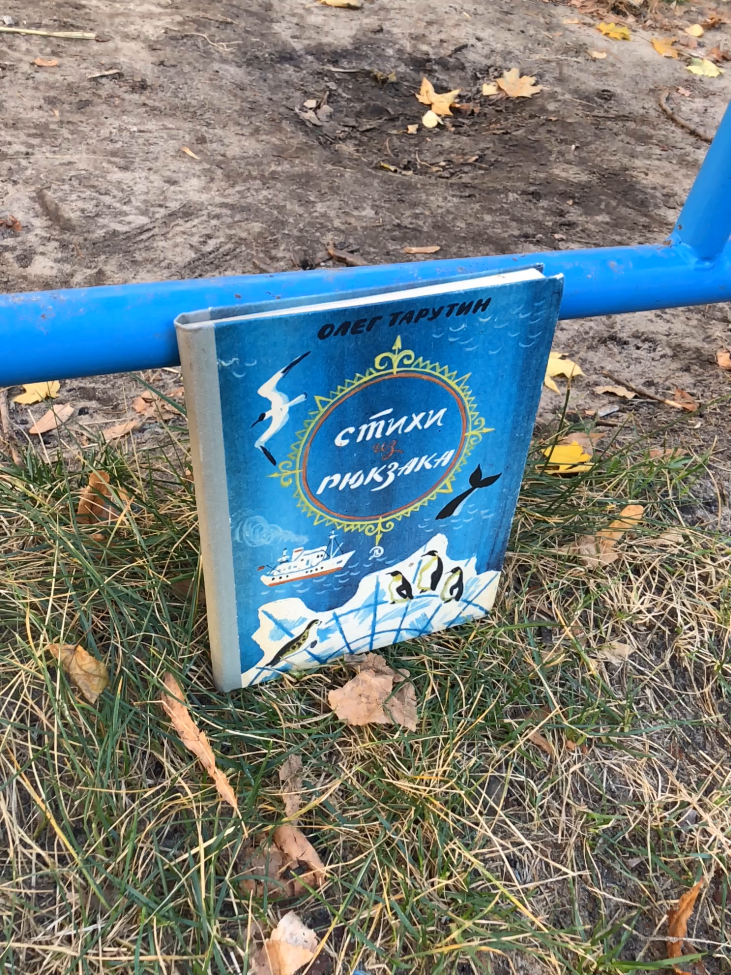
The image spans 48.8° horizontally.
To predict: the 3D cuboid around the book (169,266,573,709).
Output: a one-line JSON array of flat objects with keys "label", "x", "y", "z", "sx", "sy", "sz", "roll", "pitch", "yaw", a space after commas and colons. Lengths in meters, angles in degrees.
[{"label": "book", "x": 0.001, "y": 0.004, "z": 0.398, "sx": 0.179, "sy": 0.209, "sz": 0.023, "roll": -12, "pitch": 38, "yaw": -24}]
